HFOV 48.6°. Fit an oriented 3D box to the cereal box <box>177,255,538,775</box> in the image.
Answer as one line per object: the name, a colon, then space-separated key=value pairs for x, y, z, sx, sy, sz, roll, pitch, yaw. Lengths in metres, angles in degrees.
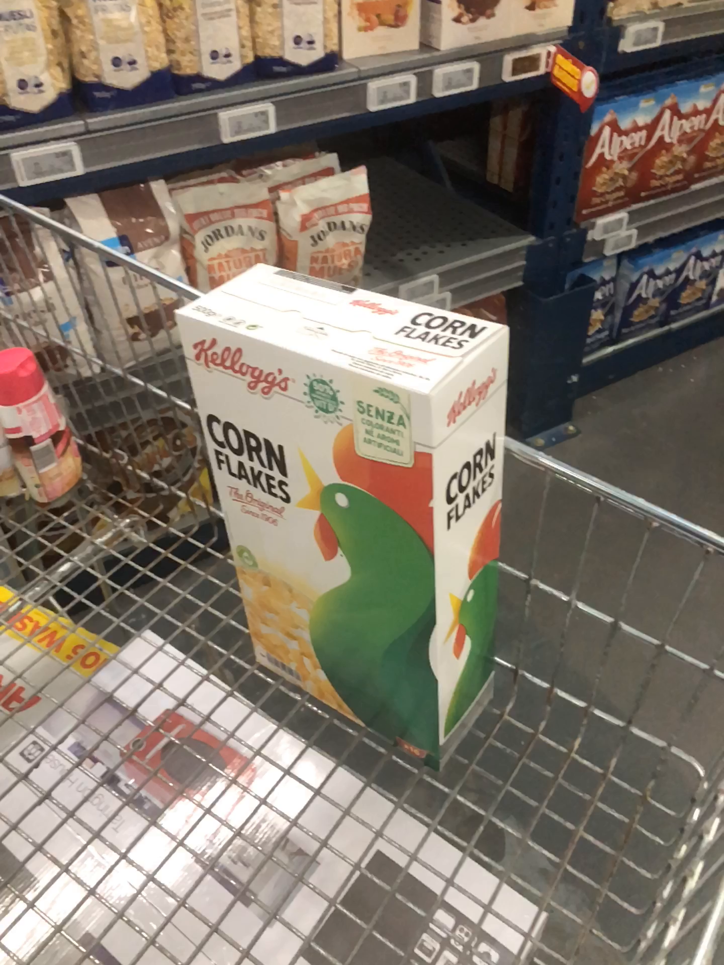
cereal box: x=0.006 y=0.032 z=0.560 sx=0.190 sy=0.329 sz=0.090 roll=22 pitch=46 yaw=30
